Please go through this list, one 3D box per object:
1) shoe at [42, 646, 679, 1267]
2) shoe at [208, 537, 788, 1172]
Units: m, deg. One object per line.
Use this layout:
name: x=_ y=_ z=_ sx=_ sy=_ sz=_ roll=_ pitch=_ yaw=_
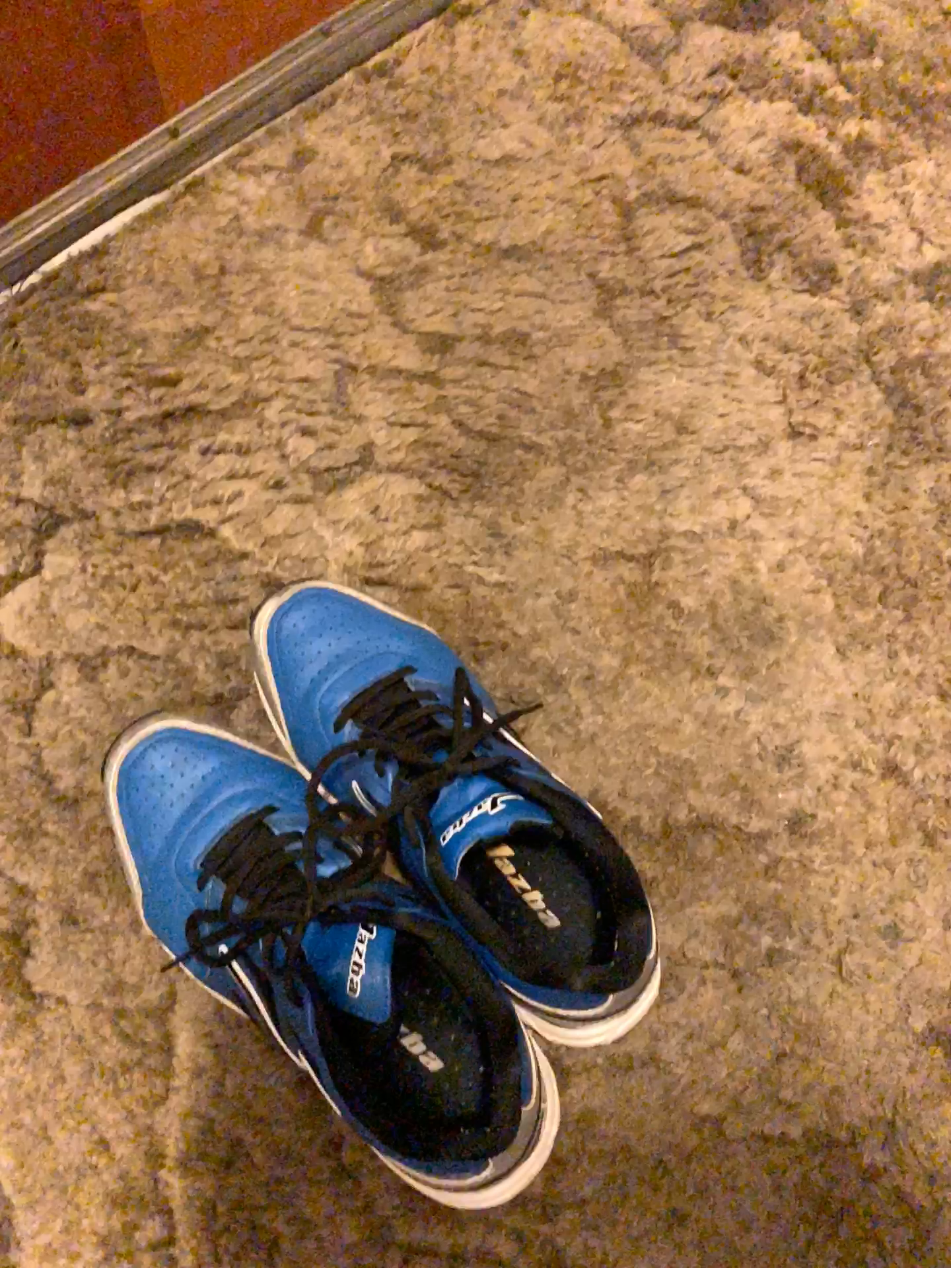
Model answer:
shoe: x=-0.055 y=0.150 z=0.451 sx=0.270 sy=0.119 sz=0.100 roll=44 pitch=72 yaw=13
shoe: x=0.000 y=0.104 z=0.491 sx=0.100 sy=0.119 sz=0.281 roll=-38 pitch=75 yaw=-17
